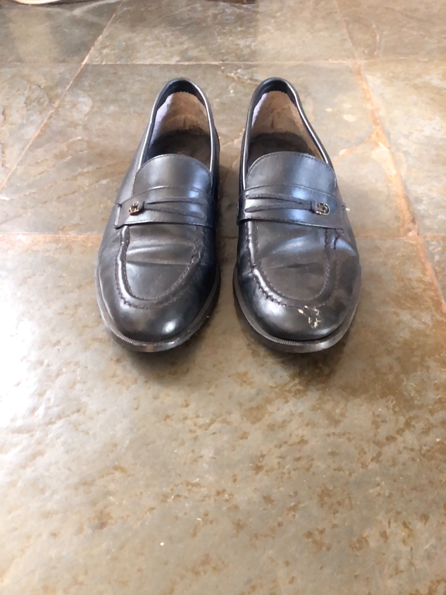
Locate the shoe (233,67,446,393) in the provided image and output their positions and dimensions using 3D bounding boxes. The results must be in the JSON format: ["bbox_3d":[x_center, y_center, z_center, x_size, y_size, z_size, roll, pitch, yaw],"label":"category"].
[{"bbox_3d":[0.062,-0.069,0.368,0.100,0.099,0.262,-2,45,1],"label":"shoe"}]

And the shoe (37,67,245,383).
[{"bbox_3d":[-0.036,-0.074,0.377,0.100,0.099,0.262,1,45,4],"label":"shoe"}]
